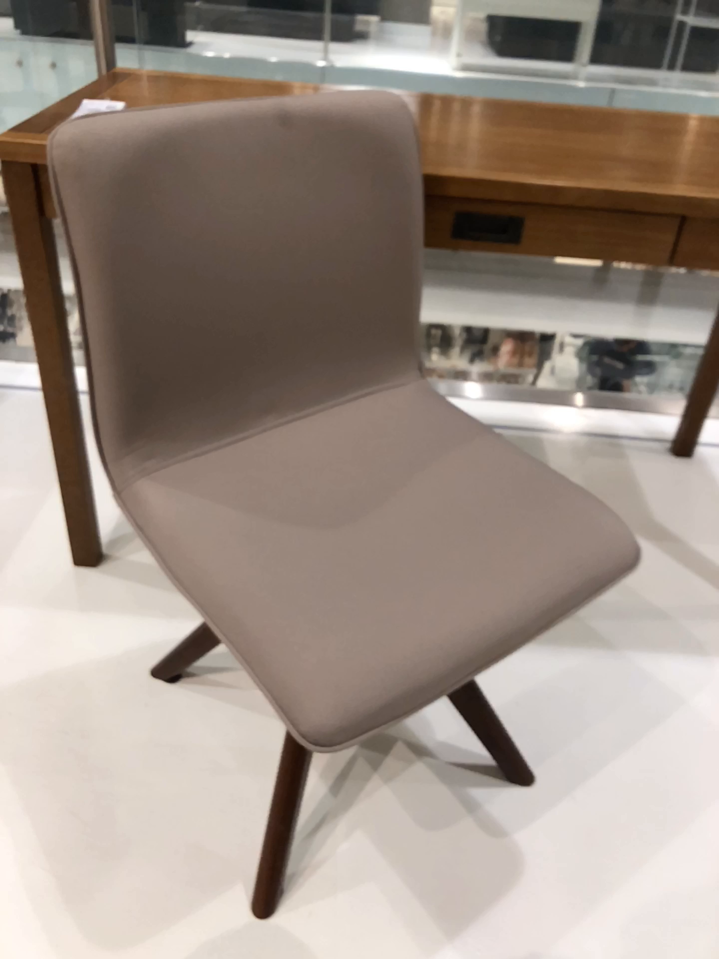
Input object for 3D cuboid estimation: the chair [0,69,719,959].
[{"bbox_3d":[-0.031,0.019,0.977,0.542,0.833,0.533,-22,43,-33],"label":"chair"}]
